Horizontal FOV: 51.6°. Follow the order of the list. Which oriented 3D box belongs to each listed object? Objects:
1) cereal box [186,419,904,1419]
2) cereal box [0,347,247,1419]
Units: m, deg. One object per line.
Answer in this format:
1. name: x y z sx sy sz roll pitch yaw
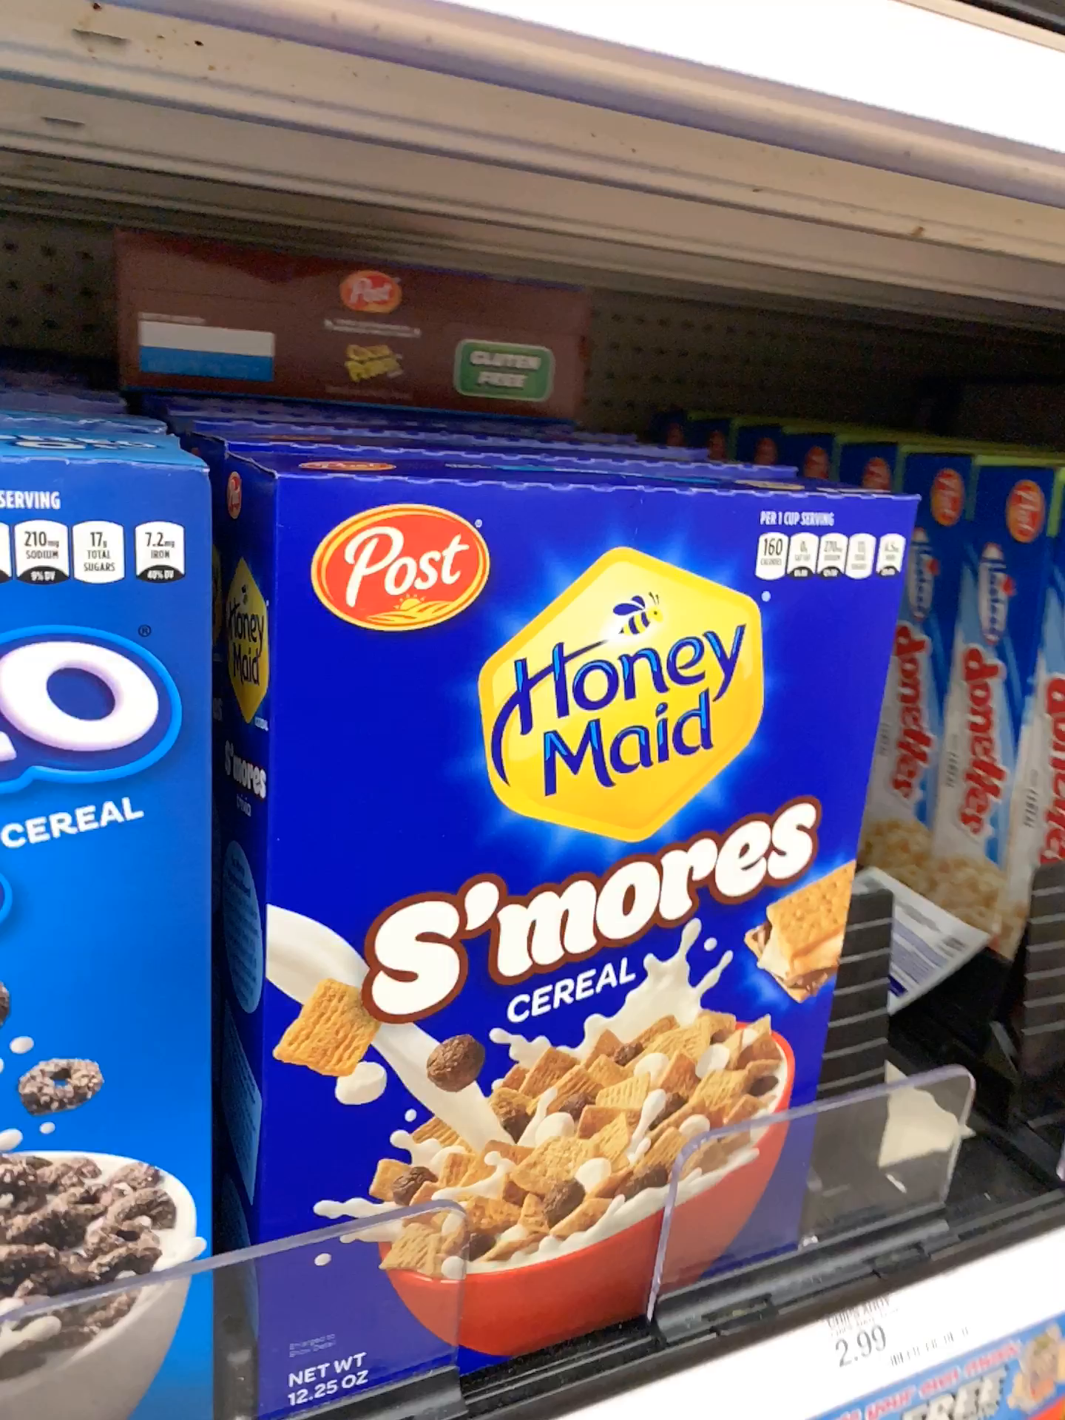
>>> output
1. cereal box: -0.003 0.057 0.339 0.190 0.269 0.060 -3 17 -25
2. cereal box: -0.164 0.067 0.248 0.180 0.269 0.070 -4 18 -27
